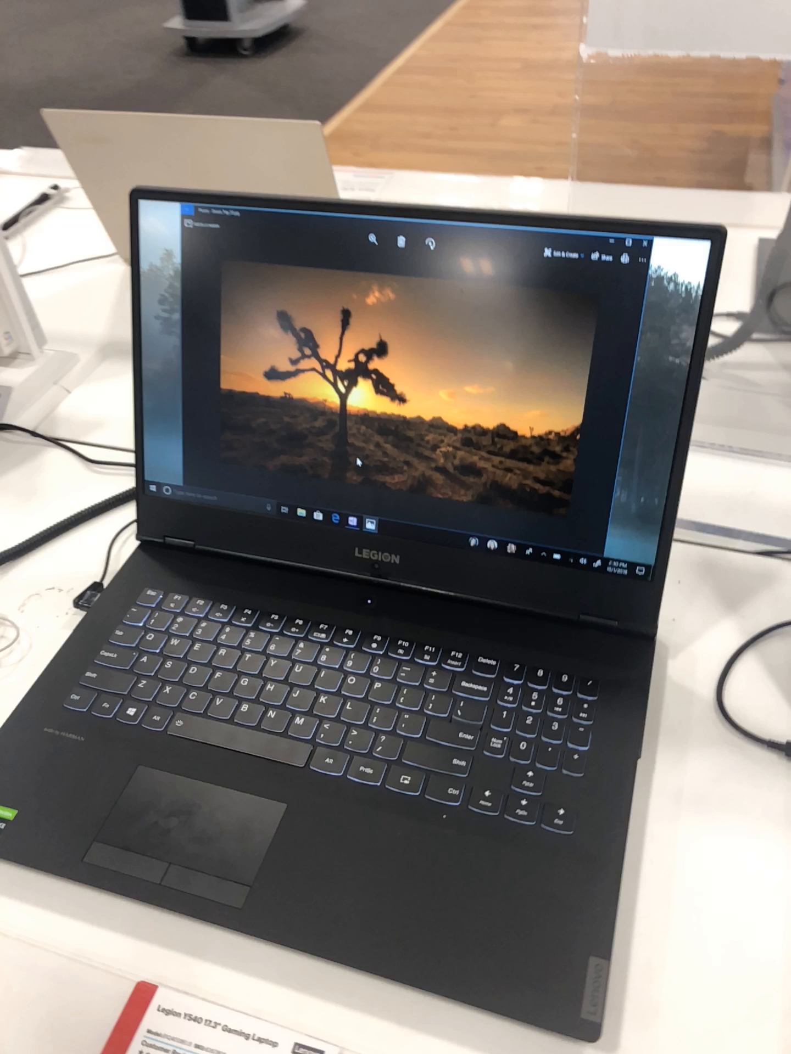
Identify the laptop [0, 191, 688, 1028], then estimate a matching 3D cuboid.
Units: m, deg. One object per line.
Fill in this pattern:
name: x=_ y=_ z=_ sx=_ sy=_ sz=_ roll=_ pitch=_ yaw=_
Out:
laptop: x=-0.052 y=0.004 z=0.516 sx=0.382 sy=0.241 sz=0.359 roll=10 pitch=43 yaw=14
